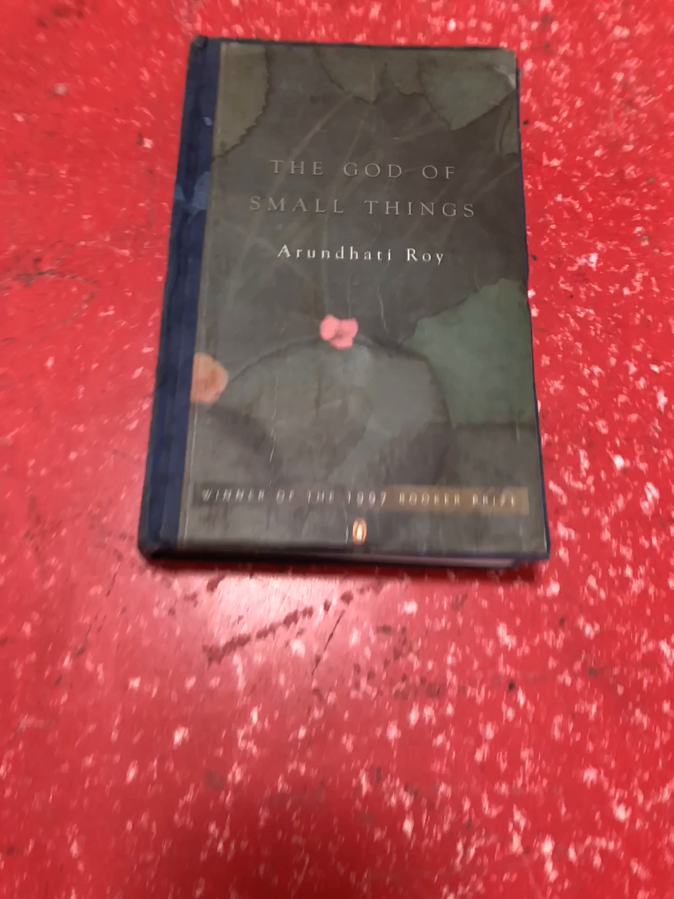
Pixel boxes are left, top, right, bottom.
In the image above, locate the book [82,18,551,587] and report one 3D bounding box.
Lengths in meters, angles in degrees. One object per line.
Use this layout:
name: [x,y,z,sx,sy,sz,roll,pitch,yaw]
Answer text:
book: [-0.002,-0.063,0.294,0.150,0.040,0.220,3,72,1]
